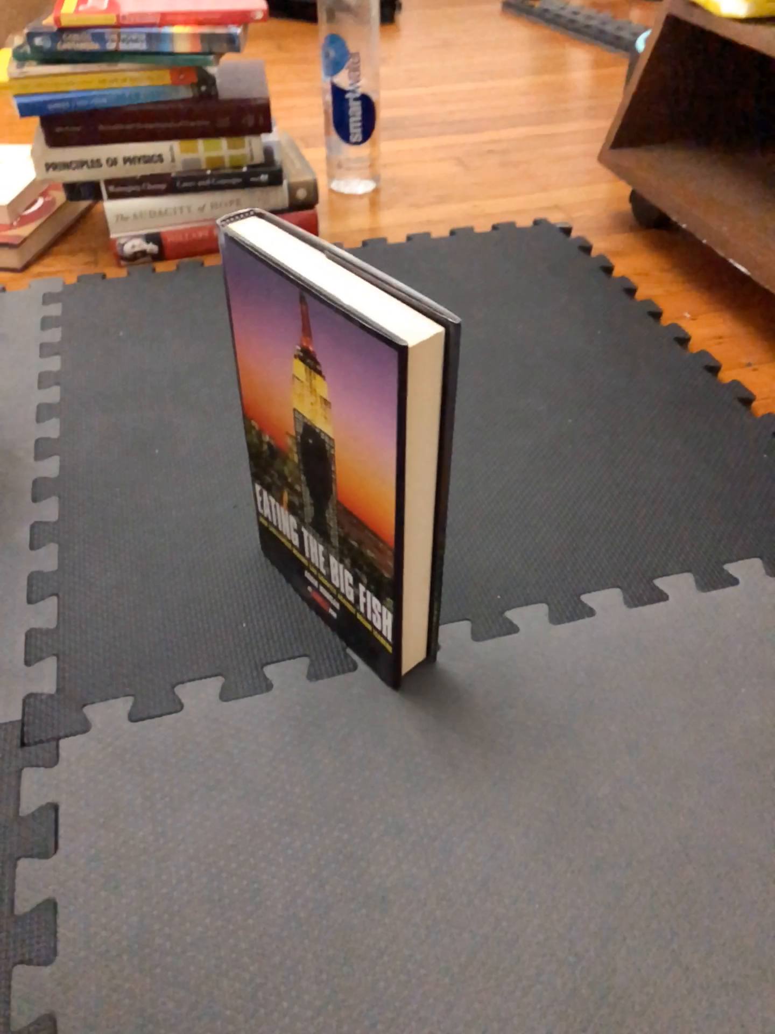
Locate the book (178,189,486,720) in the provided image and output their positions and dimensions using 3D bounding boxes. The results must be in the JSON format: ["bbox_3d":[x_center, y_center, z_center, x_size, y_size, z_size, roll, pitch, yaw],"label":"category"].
[{"bbox_3d":[-0.031,-0.029,0.497,0.050,0.258,0.181,-30,49,-27],"label":"book"}]
